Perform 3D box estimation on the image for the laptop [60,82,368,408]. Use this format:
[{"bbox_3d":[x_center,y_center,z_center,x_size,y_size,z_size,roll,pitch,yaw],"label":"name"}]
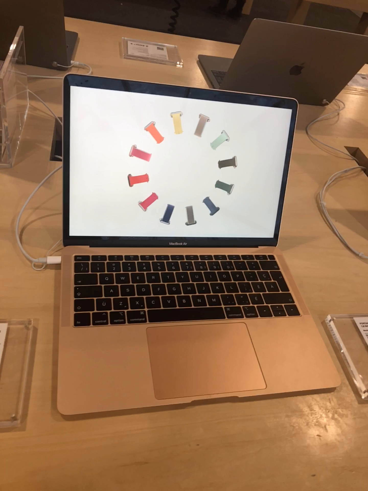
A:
[{"bbox_3d":[0.019,-0.016,0.446,0.289,0.167,0.299,1,44,-16],"label":"laptop"}]
